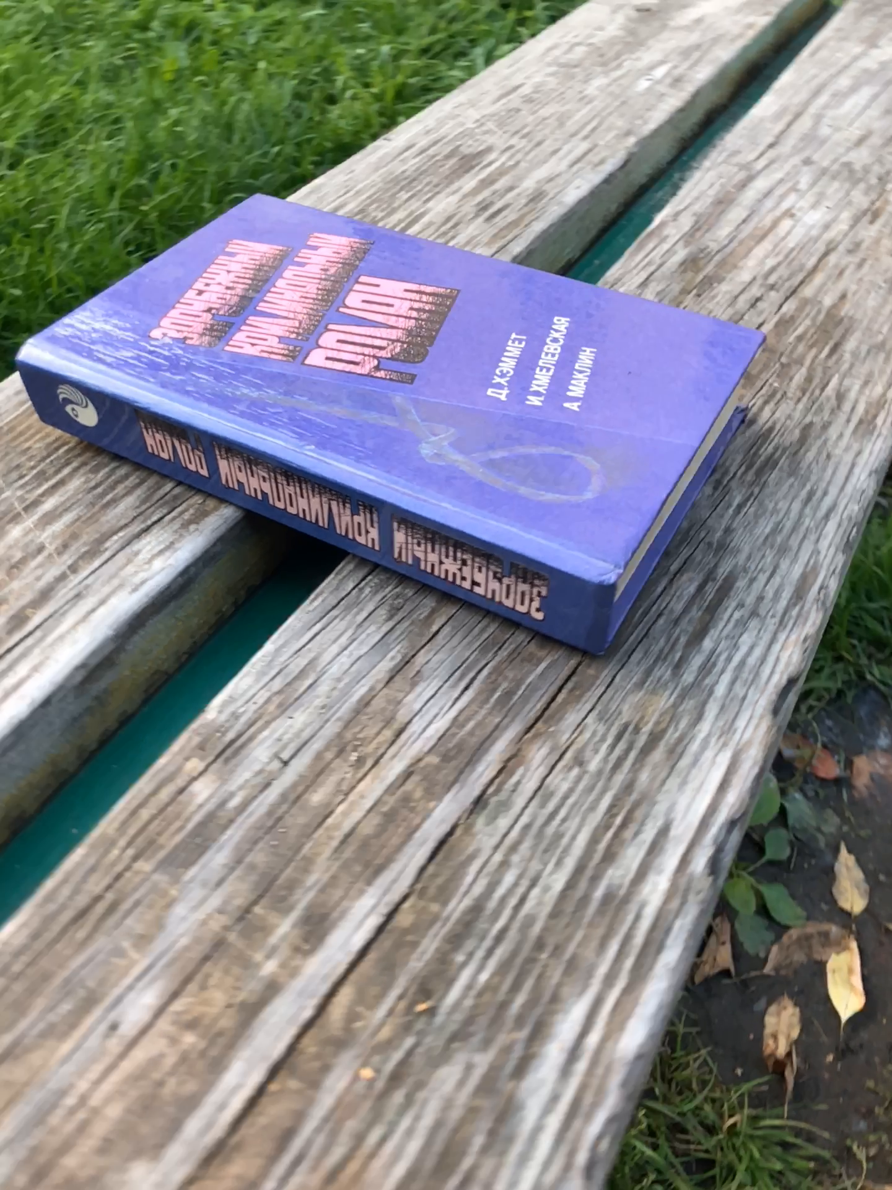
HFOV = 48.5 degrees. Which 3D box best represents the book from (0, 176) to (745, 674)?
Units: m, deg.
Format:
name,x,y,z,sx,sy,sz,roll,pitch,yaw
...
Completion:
name,x,y,z,sx,sy,sz,roll,pitch,yaw
book,-0.030,-0.068,0.307,0.205,0.030,0.131,22,50,19
